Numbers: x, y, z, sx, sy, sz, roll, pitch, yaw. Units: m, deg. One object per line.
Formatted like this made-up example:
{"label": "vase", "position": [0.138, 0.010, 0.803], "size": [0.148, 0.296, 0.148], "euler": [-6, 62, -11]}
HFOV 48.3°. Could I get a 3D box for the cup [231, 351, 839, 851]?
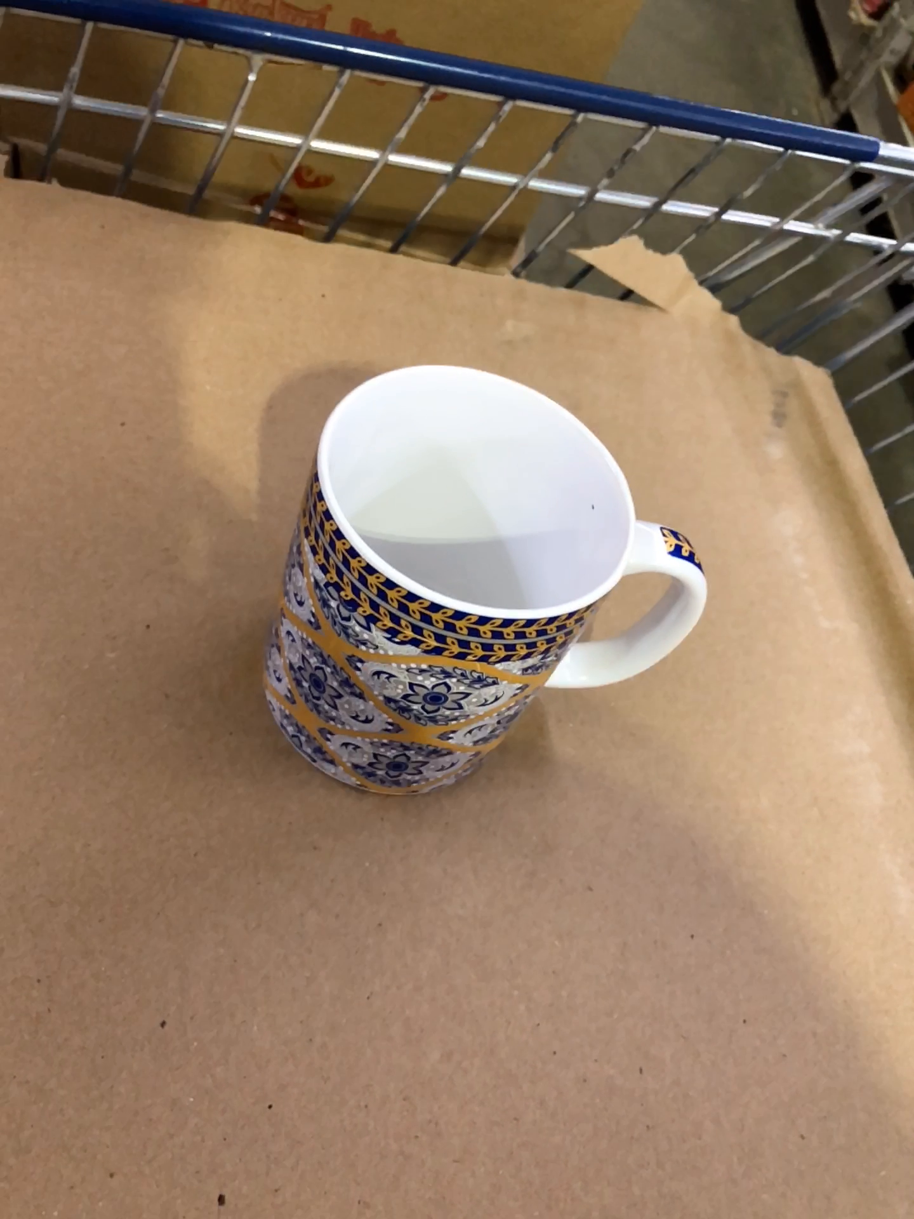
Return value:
{"label": "cup", "position": [0.010, -0.002, 0.277], "size": [0.120, 0.100, 0.080], "euler": [-3, 53, -23]}
